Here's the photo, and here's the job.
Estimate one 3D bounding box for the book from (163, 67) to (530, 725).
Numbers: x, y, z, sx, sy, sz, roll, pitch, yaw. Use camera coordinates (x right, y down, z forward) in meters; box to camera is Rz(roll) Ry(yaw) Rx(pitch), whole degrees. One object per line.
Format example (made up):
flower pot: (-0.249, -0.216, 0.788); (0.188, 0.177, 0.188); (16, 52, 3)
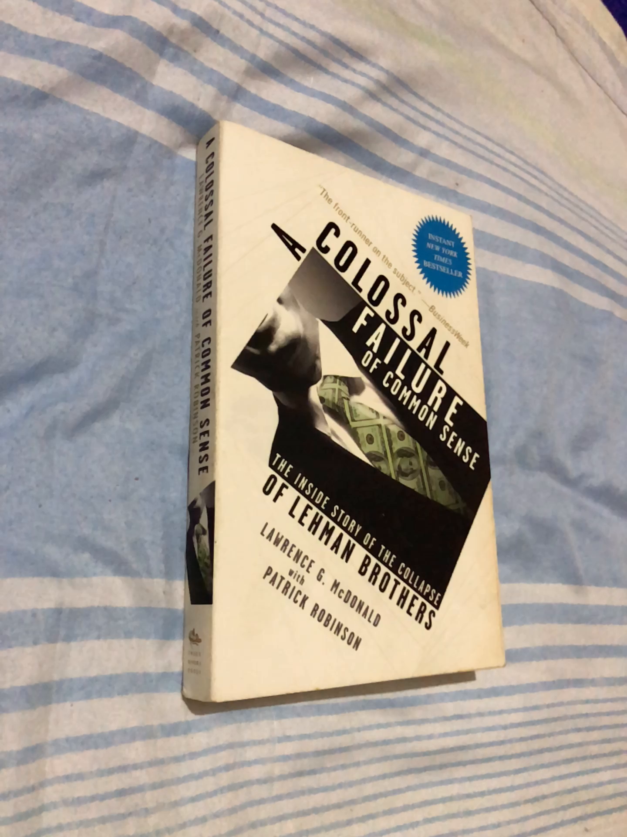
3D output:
book: (0.016, -0.007, 0.282); (0.141, 0.040, 0.220); (8, 74, -35)
